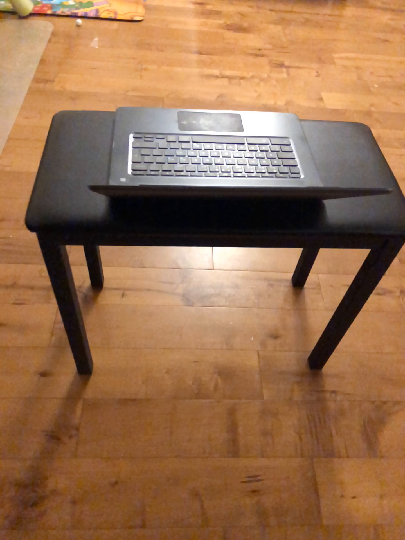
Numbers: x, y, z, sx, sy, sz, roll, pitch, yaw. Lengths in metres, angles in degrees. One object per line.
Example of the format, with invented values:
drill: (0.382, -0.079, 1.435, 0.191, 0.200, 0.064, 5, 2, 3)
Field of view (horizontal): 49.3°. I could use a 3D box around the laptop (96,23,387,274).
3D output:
laptop: (0.029, -0.186, 0.636, 0.316, 0.143, 0.364, 0, 53, -7)
